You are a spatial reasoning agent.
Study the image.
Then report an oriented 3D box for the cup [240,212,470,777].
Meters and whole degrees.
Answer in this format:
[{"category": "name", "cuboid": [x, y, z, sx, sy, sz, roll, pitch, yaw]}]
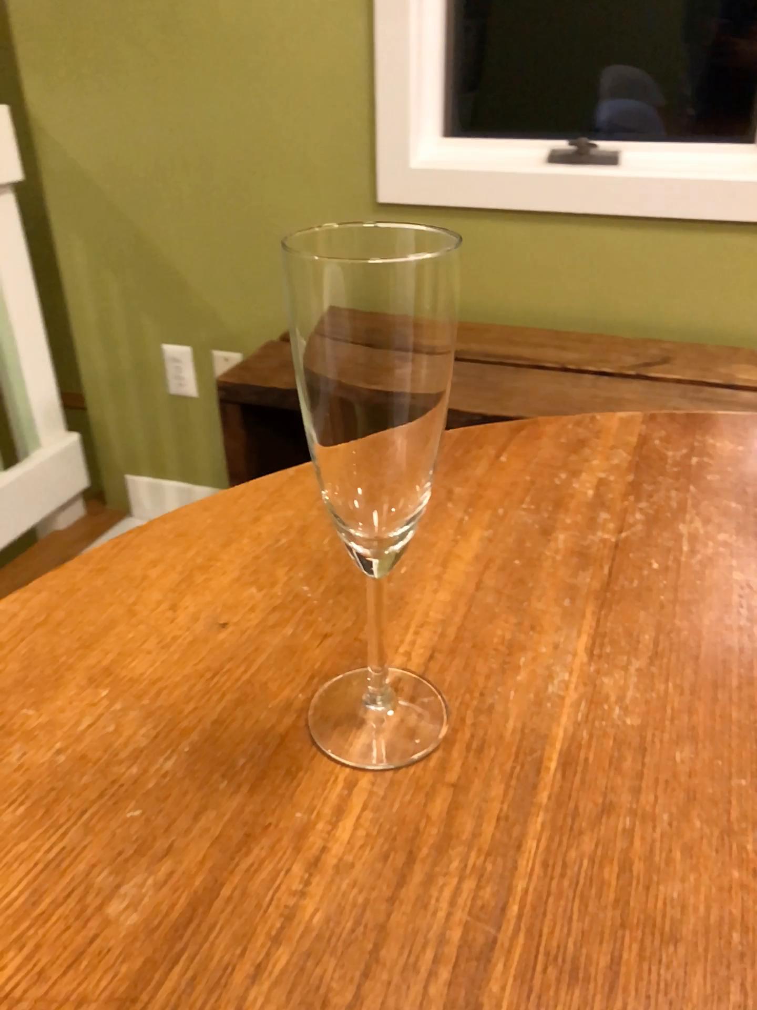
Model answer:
[{"category": "cup", "cuboid": [-0.002, 0.001, 0.338, 0.066, 0.215, 0.074, 4, 29, 9]}]
